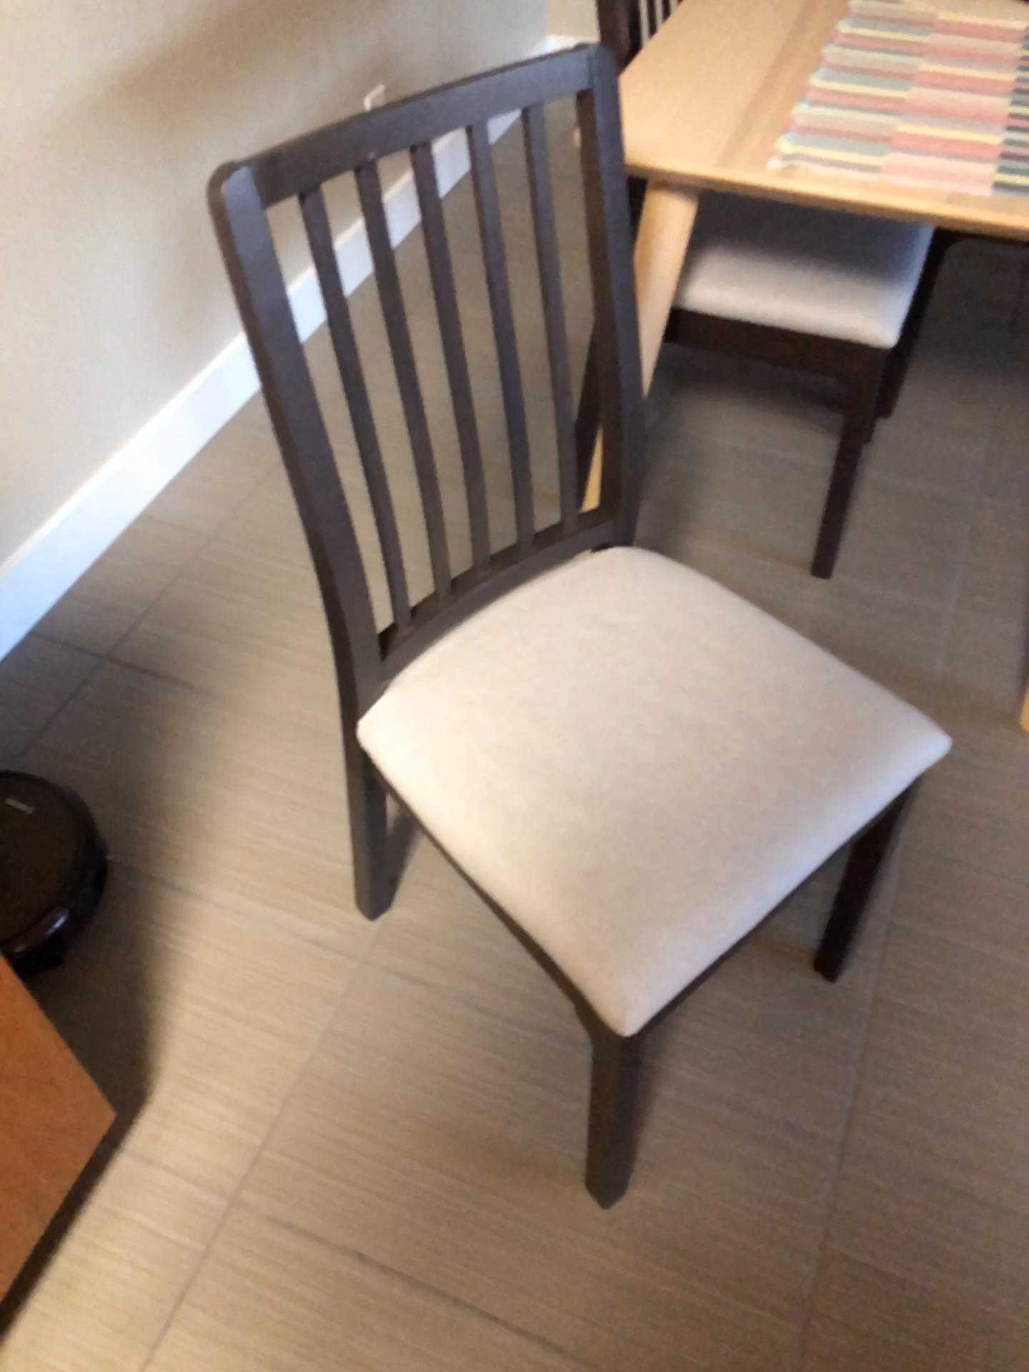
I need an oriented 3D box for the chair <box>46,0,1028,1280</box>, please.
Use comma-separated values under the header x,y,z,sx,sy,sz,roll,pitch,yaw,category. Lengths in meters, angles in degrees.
x,y,z,sx,sy,sz,roll,pitch,yaw,category
0.105,-0.023,1.040,0.581,0.847,0.591,-34,56,-26,chair
